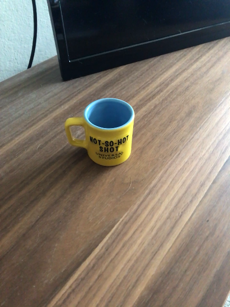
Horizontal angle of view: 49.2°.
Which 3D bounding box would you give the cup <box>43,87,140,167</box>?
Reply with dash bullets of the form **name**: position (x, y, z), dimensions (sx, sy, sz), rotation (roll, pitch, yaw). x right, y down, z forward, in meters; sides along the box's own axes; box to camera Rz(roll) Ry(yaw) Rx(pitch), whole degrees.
- **cup**: position (-0.024, -0.029, 0.276), dimensions (0.090, 0.060, 0.060), rotation (-2, 48, -4)
